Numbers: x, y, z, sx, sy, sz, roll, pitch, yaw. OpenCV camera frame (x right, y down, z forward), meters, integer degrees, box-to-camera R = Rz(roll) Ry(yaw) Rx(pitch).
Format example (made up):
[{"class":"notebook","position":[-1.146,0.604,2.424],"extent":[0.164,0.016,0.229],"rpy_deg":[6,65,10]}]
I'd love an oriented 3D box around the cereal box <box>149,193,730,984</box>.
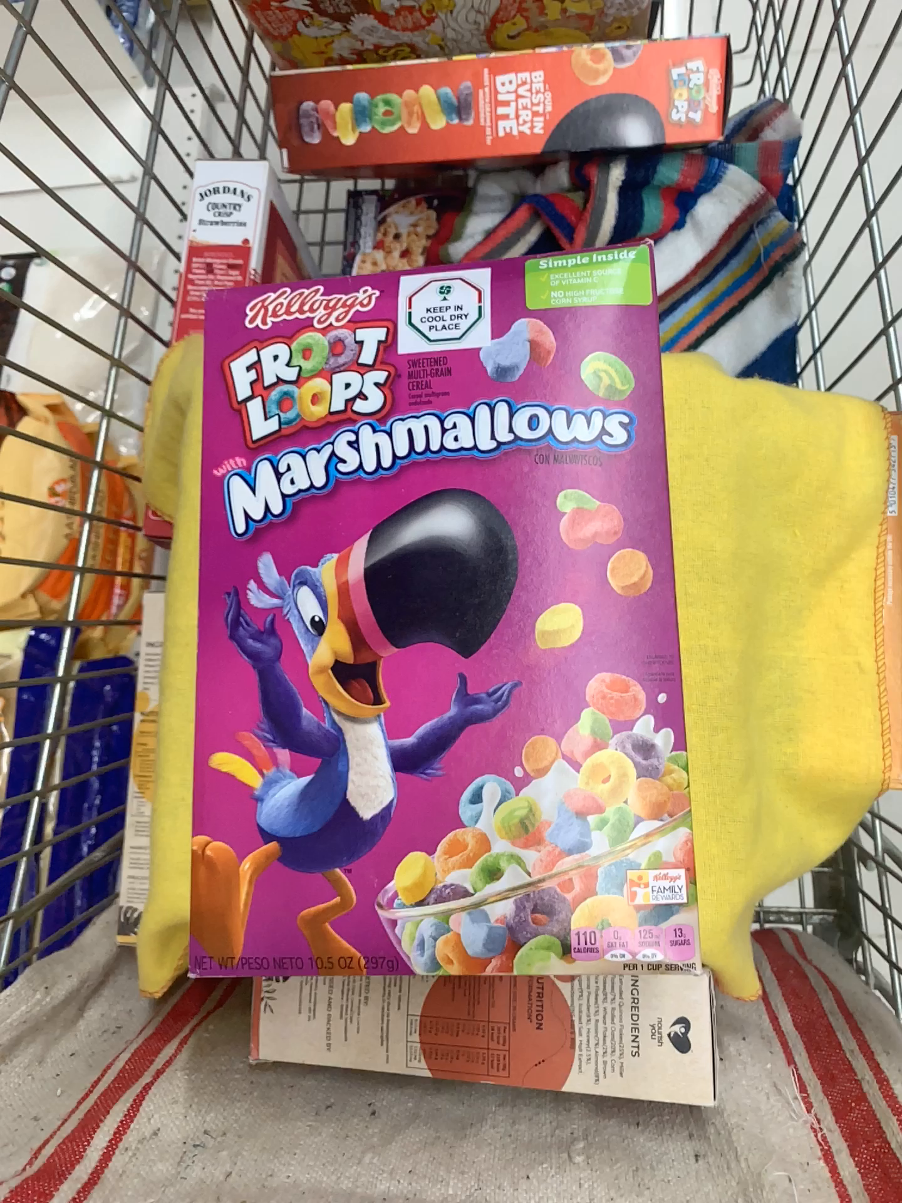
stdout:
[{"class":"cereal box","position":[-0.006,-0.004,0.358],"extent":[0.190,0.070,0.270],"rpy_deg":[-3,80,8]}]
